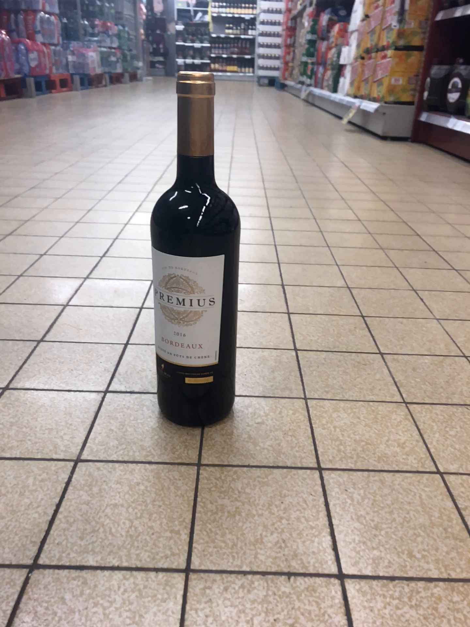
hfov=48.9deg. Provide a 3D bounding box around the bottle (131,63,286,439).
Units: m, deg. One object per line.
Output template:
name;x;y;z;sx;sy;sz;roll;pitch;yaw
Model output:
bottle;-0.022;-0.047;0.433;0.090;0.288;0.081;9;25;15
